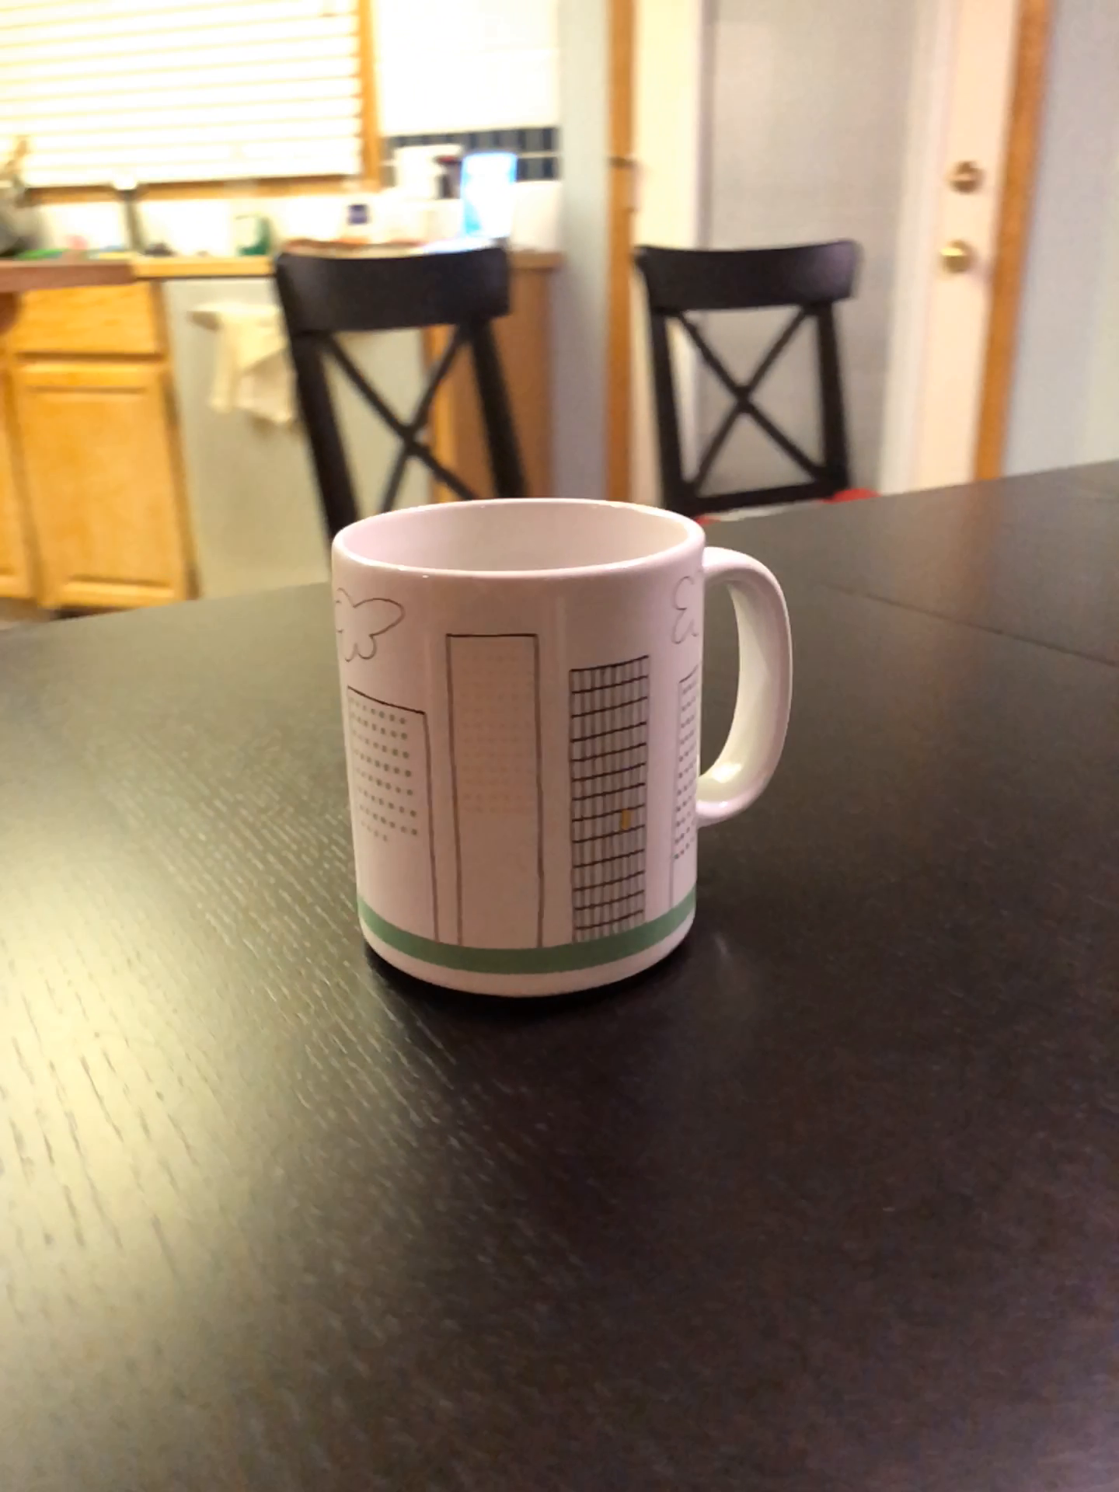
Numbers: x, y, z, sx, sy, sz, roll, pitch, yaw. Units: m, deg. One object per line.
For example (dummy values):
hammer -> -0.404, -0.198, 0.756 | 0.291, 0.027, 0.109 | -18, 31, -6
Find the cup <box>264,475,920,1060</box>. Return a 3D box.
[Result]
cup -> 0.009, -0.007, 0.319 | 0.130, 0.100, 0.090 | -15, 25, -33
